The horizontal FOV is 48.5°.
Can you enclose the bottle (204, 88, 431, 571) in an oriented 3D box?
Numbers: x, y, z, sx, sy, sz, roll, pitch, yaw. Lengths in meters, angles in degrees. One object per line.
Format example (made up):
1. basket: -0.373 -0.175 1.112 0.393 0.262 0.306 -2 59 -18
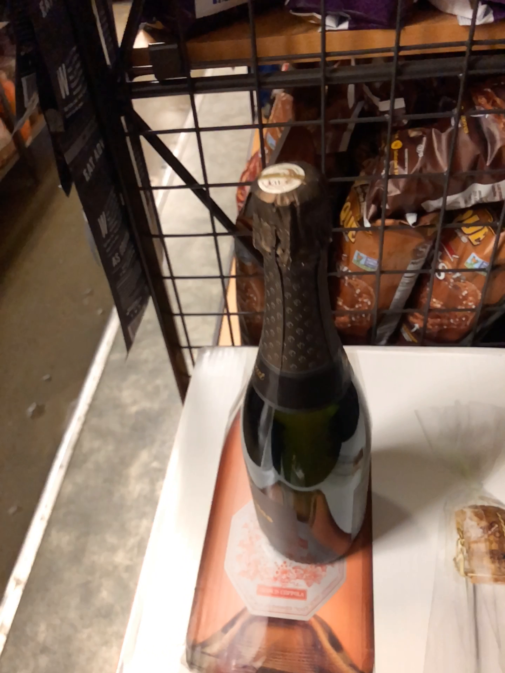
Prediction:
1. bottle: 0.038 0.031 0.353 0.084 0.326 0.090 -4 44 4
